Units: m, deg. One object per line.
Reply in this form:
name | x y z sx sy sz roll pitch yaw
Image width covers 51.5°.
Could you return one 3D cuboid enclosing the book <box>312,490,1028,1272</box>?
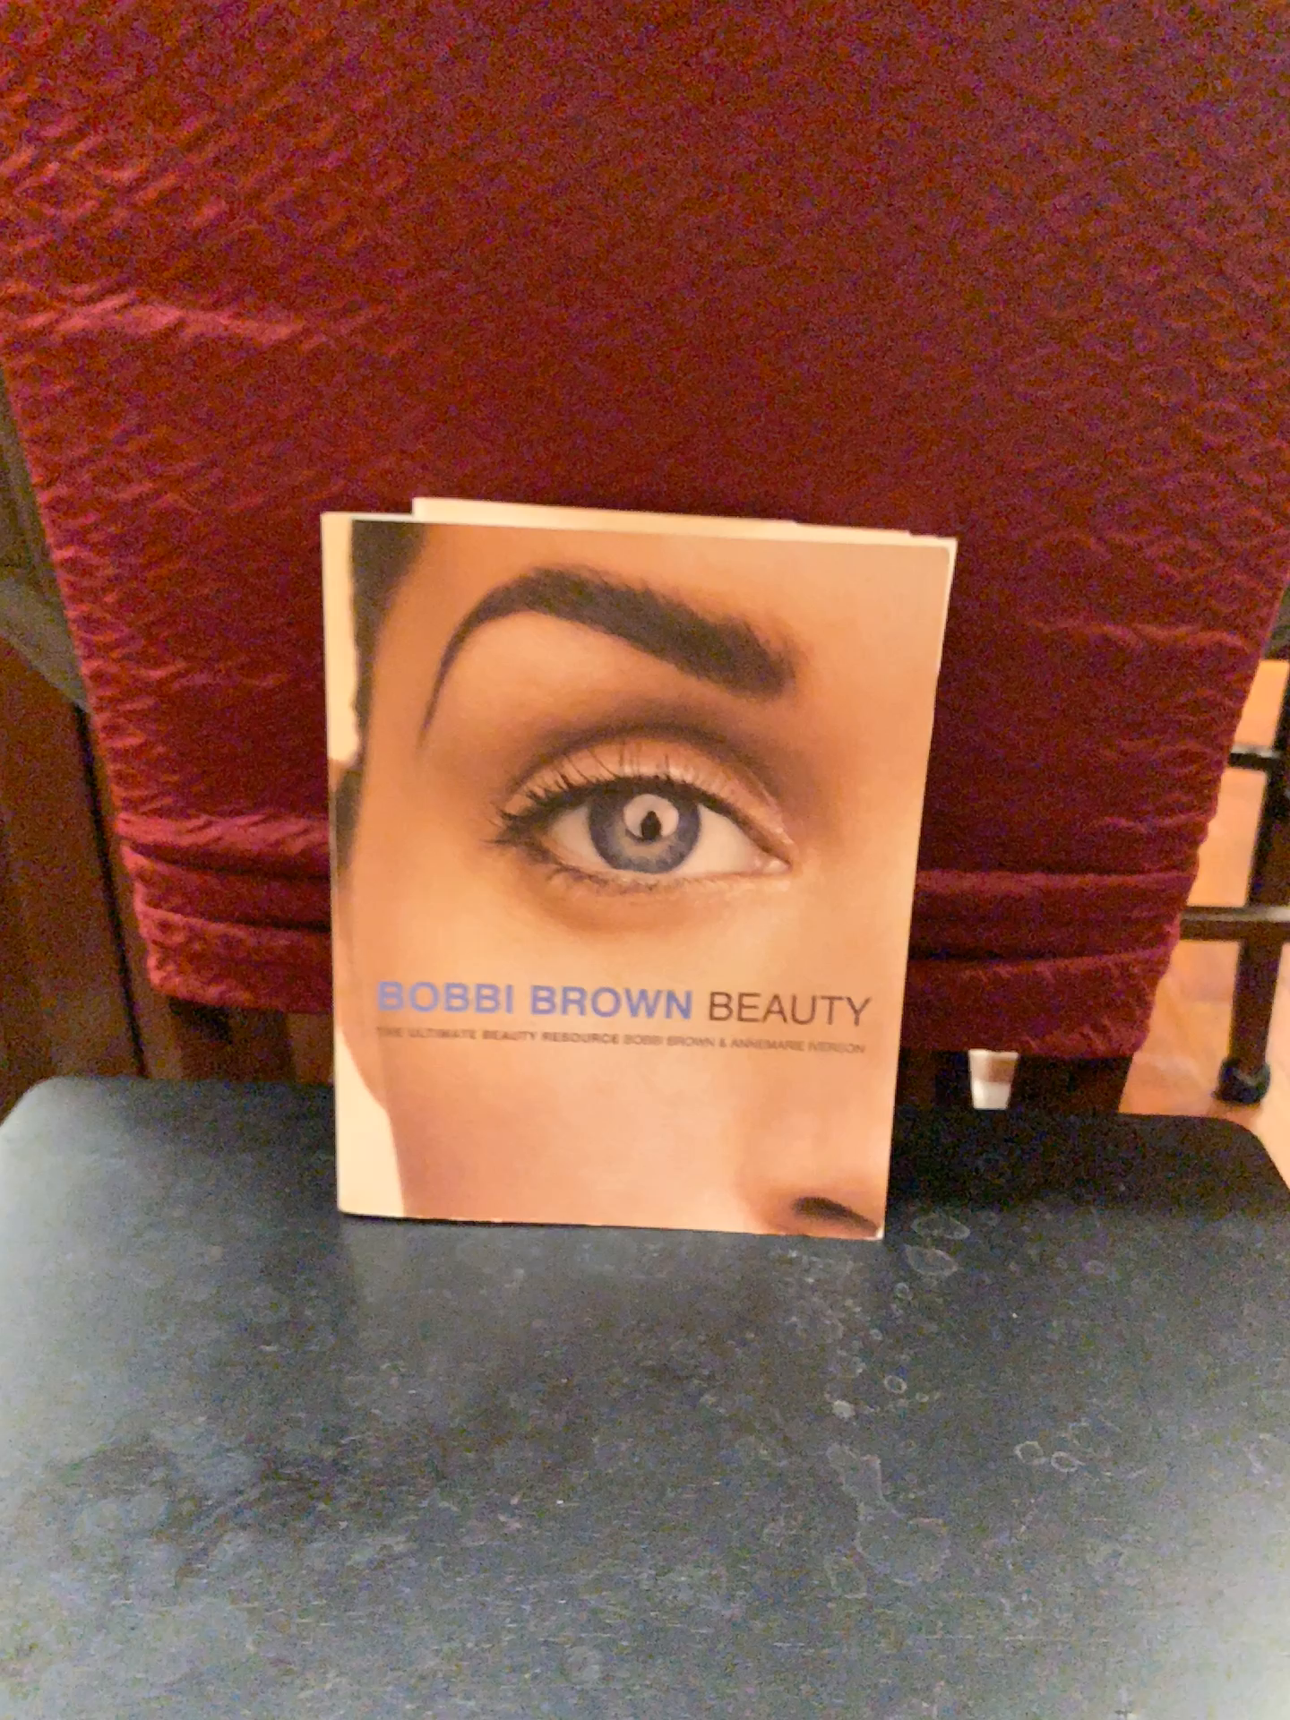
book | 0.003 0.012 0.421 0.200 0.239 0.030 2 16 1
